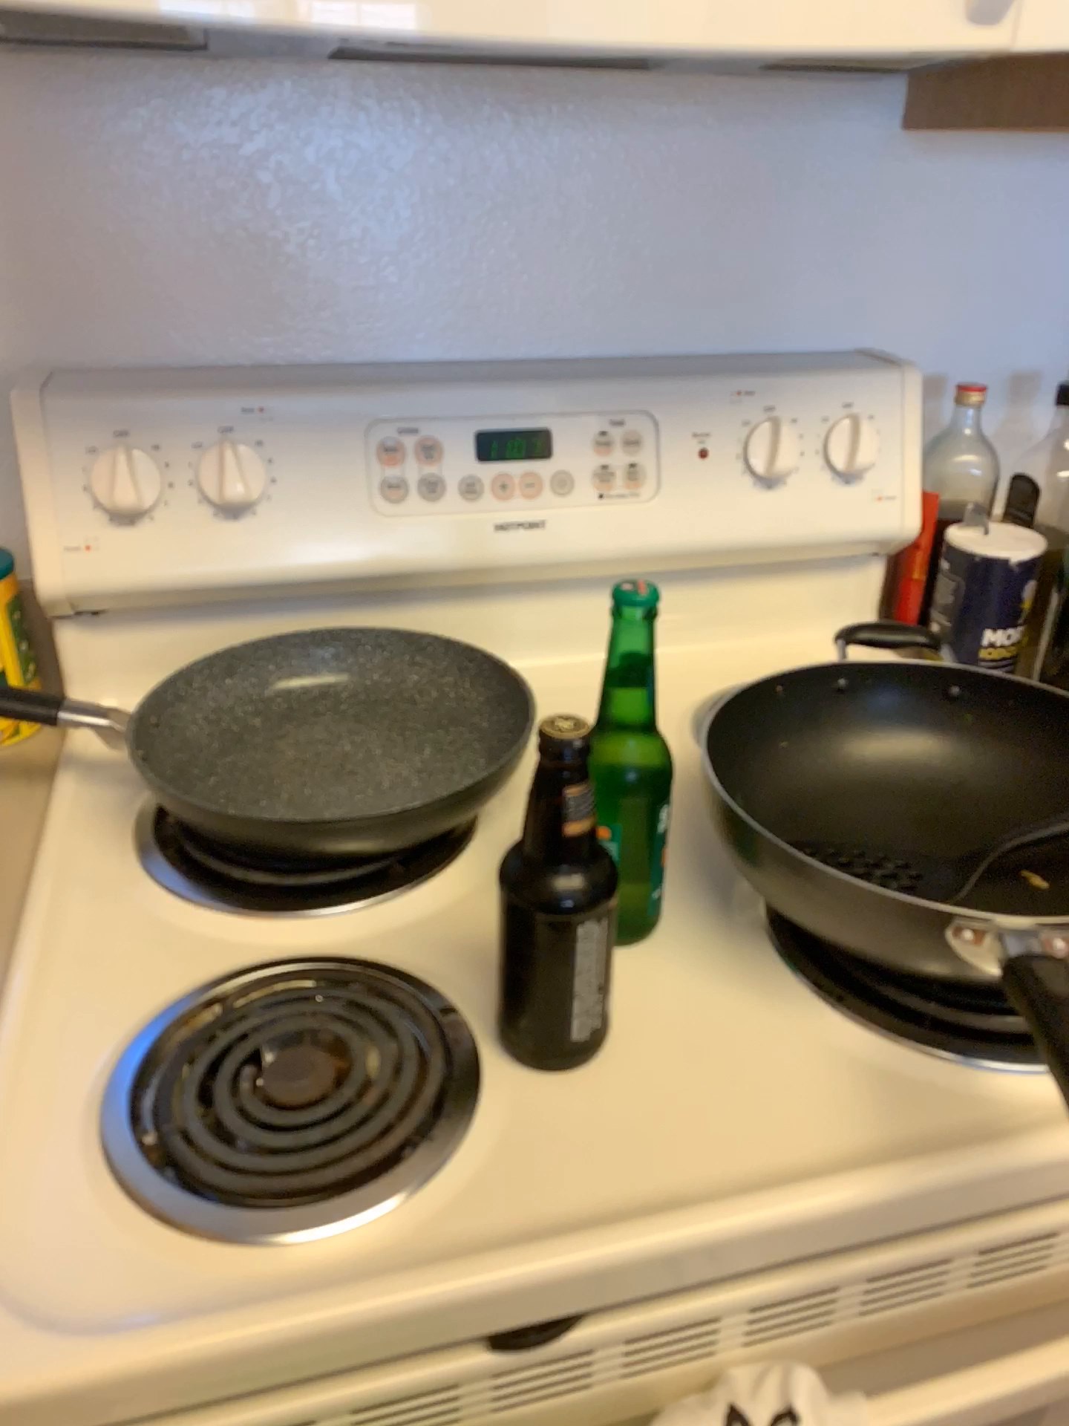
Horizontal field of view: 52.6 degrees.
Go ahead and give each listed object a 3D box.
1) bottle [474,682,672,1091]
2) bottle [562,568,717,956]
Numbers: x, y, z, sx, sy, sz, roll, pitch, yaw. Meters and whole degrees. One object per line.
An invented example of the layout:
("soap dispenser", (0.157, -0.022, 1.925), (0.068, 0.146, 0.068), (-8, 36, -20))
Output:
("bottle", (0.016, 0.089, 0.557), (0.070, 0.189, 0.070), (1, 27, 0))
("bottle", (0.058, 0.030, 0.620), (0.060, 0.209, 0.060), (1, 27, 0))
